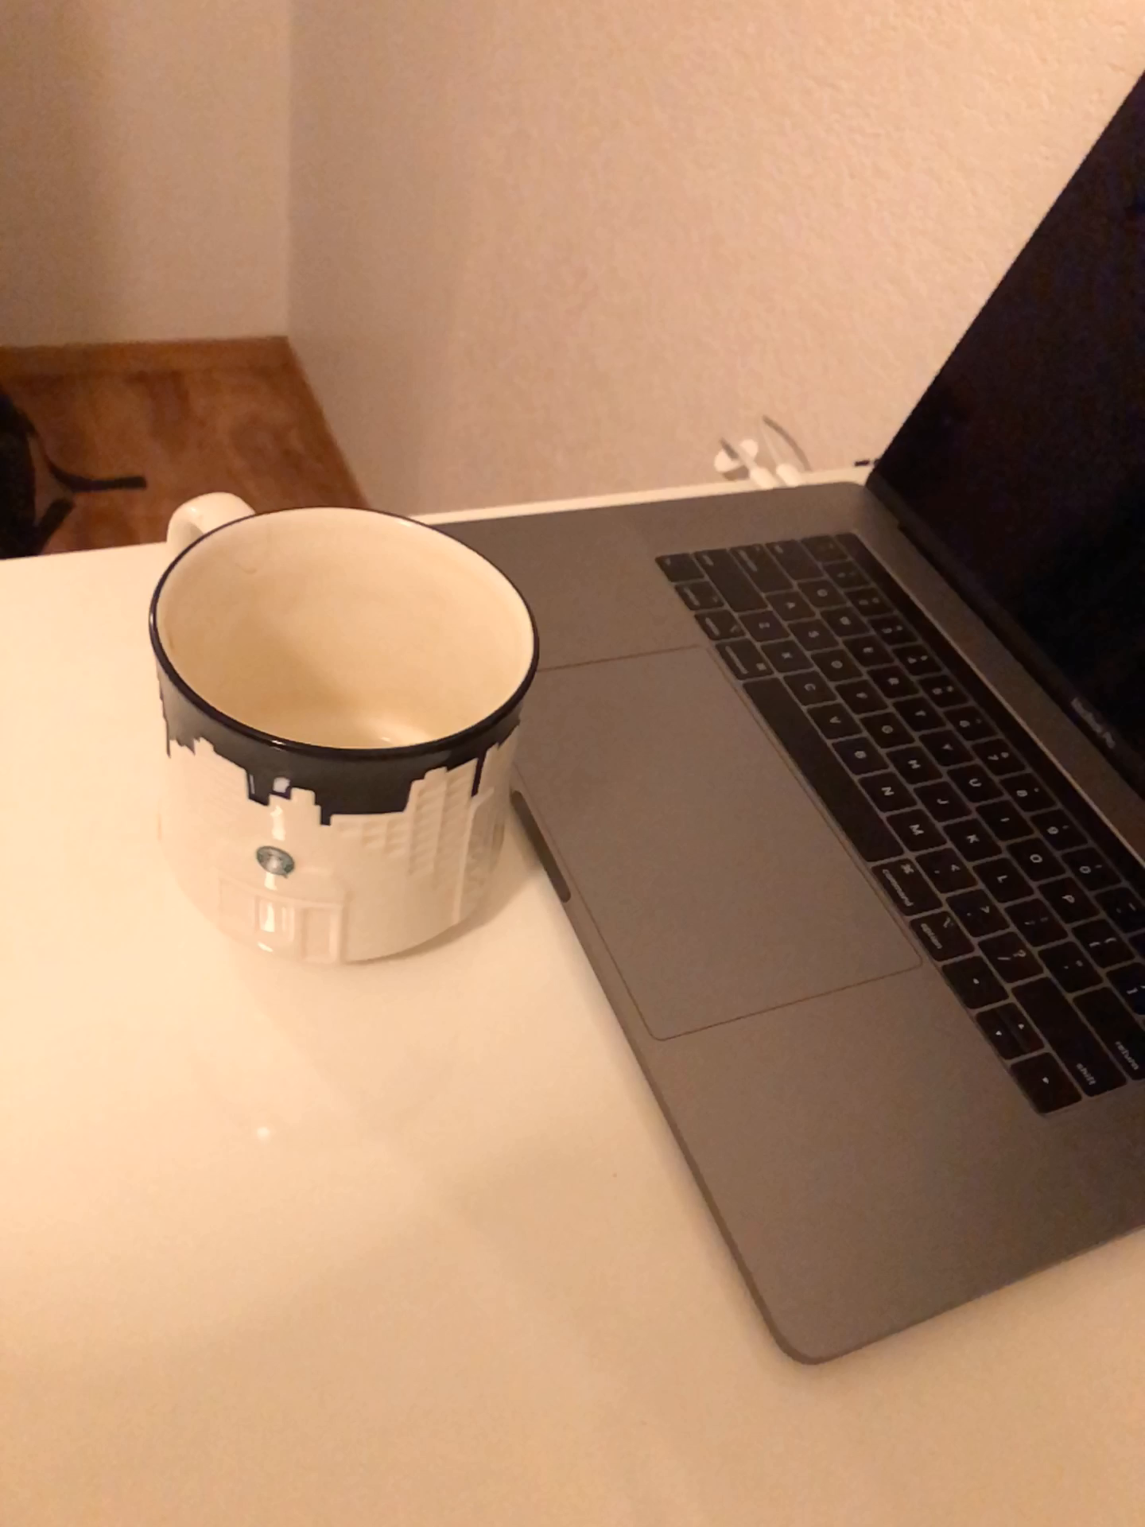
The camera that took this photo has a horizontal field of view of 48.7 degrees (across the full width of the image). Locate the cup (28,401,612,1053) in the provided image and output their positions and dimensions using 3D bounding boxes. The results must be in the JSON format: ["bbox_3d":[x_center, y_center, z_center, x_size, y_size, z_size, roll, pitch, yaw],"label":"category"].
[{"bbox_3d":[-0.083,-0.018,0.397,0.100,0.109,0.150,-24,55,-32],"label":"cup"}]
